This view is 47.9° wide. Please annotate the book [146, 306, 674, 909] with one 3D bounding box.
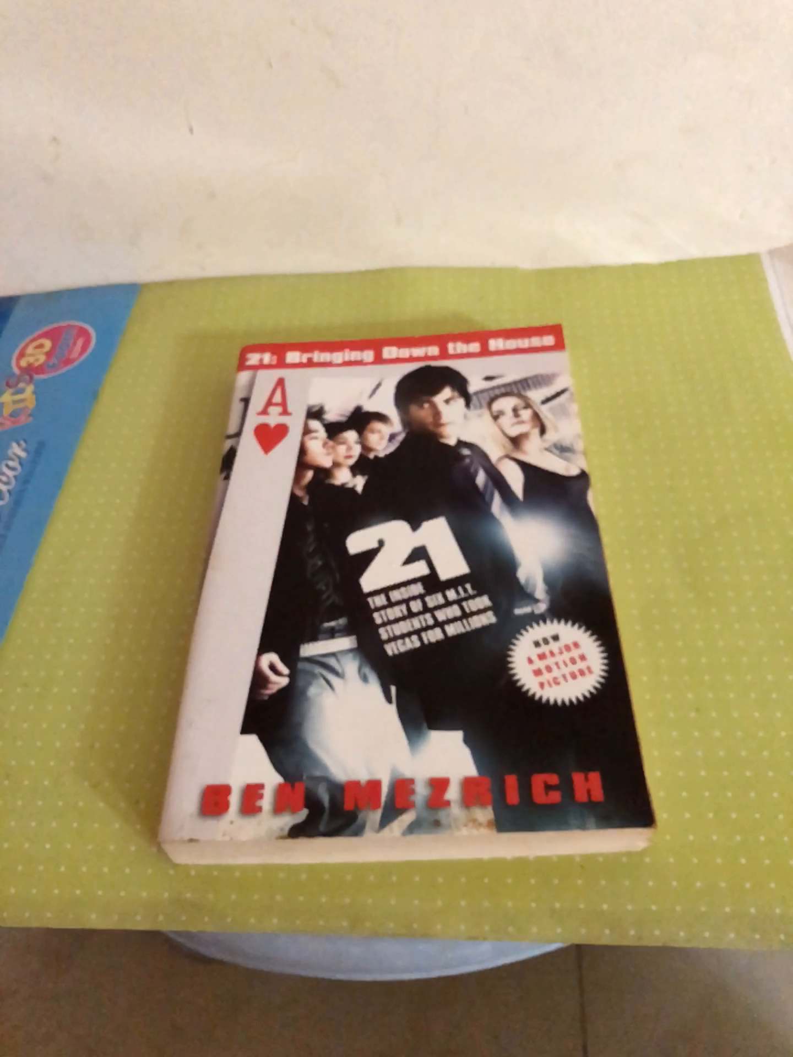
[{"bbox_3d":[0.003,0.011,0.301,0.130,0.040,0.211,-3,51,3],"label":"book"}]
